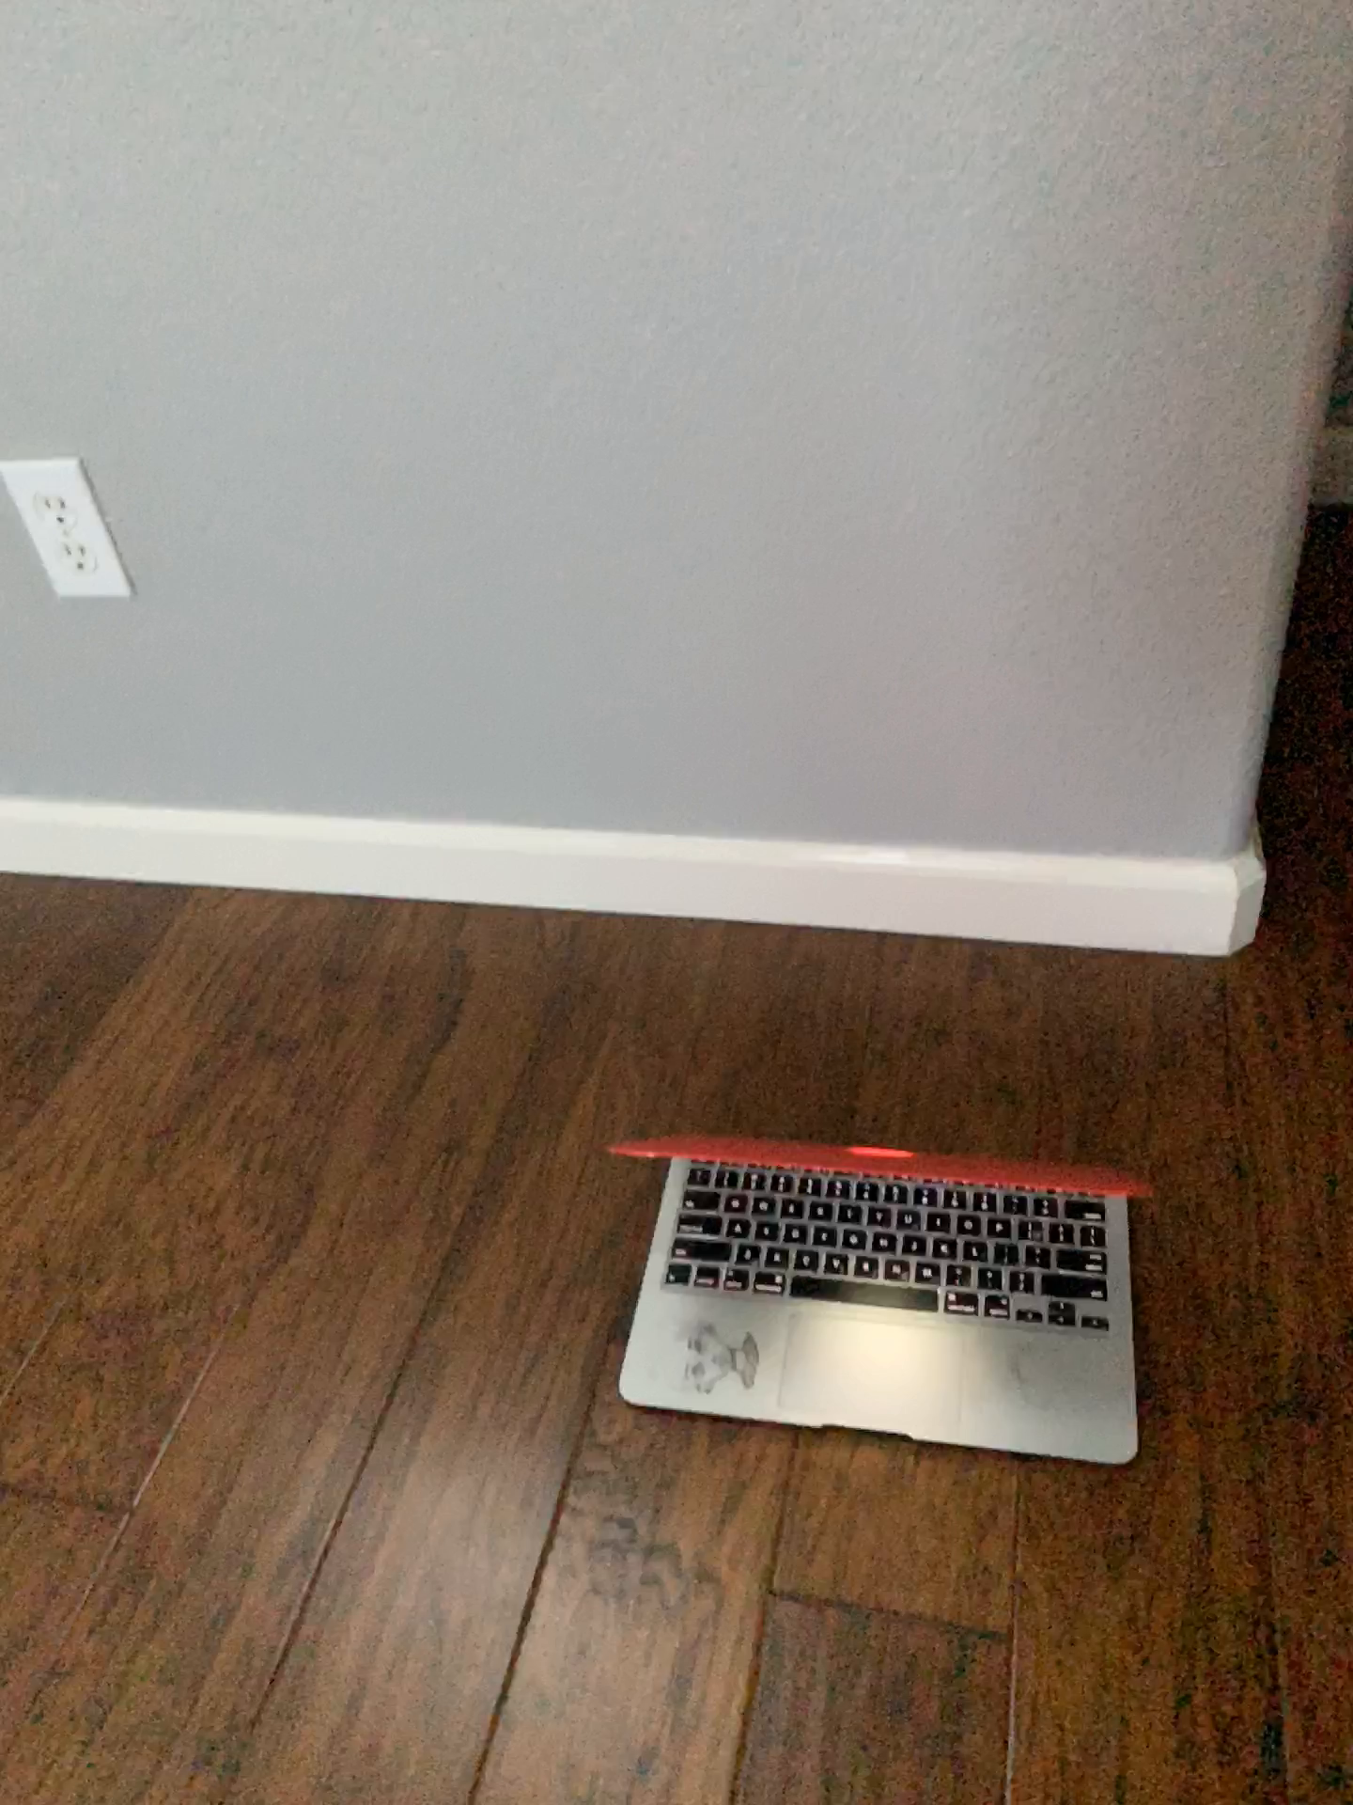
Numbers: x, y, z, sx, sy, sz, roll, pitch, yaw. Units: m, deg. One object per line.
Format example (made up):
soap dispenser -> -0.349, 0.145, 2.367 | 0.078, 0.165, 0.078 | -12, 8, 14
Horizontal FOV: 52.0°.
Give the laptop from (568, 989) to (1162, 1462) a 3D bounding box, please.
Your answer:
laptop -> 0.117, 0.181, 0.822 | 0.301, 0.139, 0.199 | 2, 42, 13
